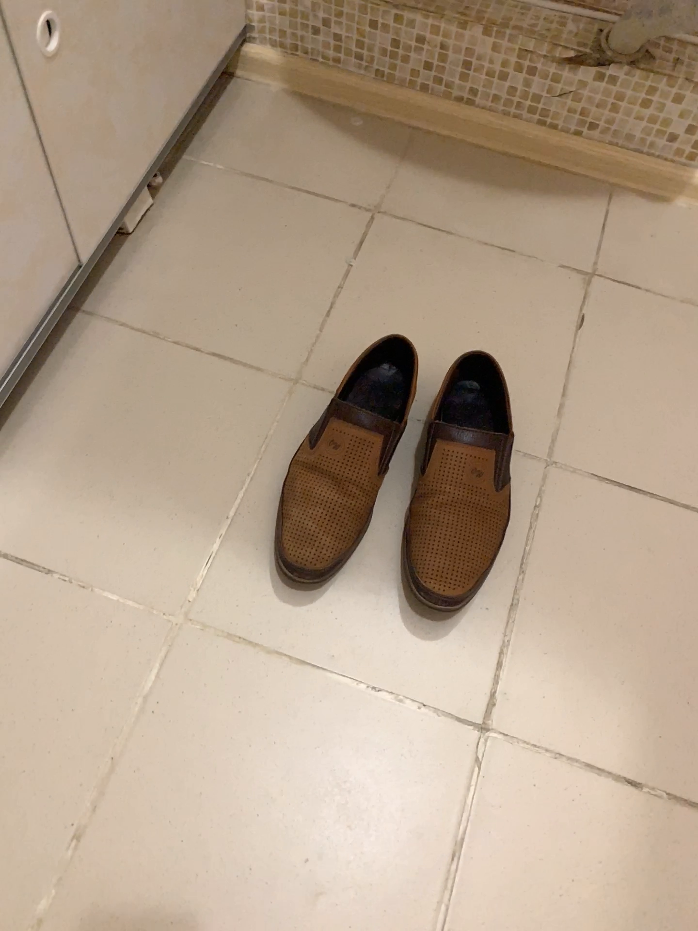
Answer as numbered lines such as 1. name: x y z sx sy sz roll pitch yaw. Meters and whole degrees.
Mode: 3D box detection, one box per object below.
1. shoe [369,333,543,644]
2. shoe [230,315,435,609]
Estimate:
1. shoe: 0.112 0.016 0.726 0.110 0.090 0.291 15 61 4
2. shoe: -0.010 -0.011 0.713 0.110 0.080 0.270 19 61 6
